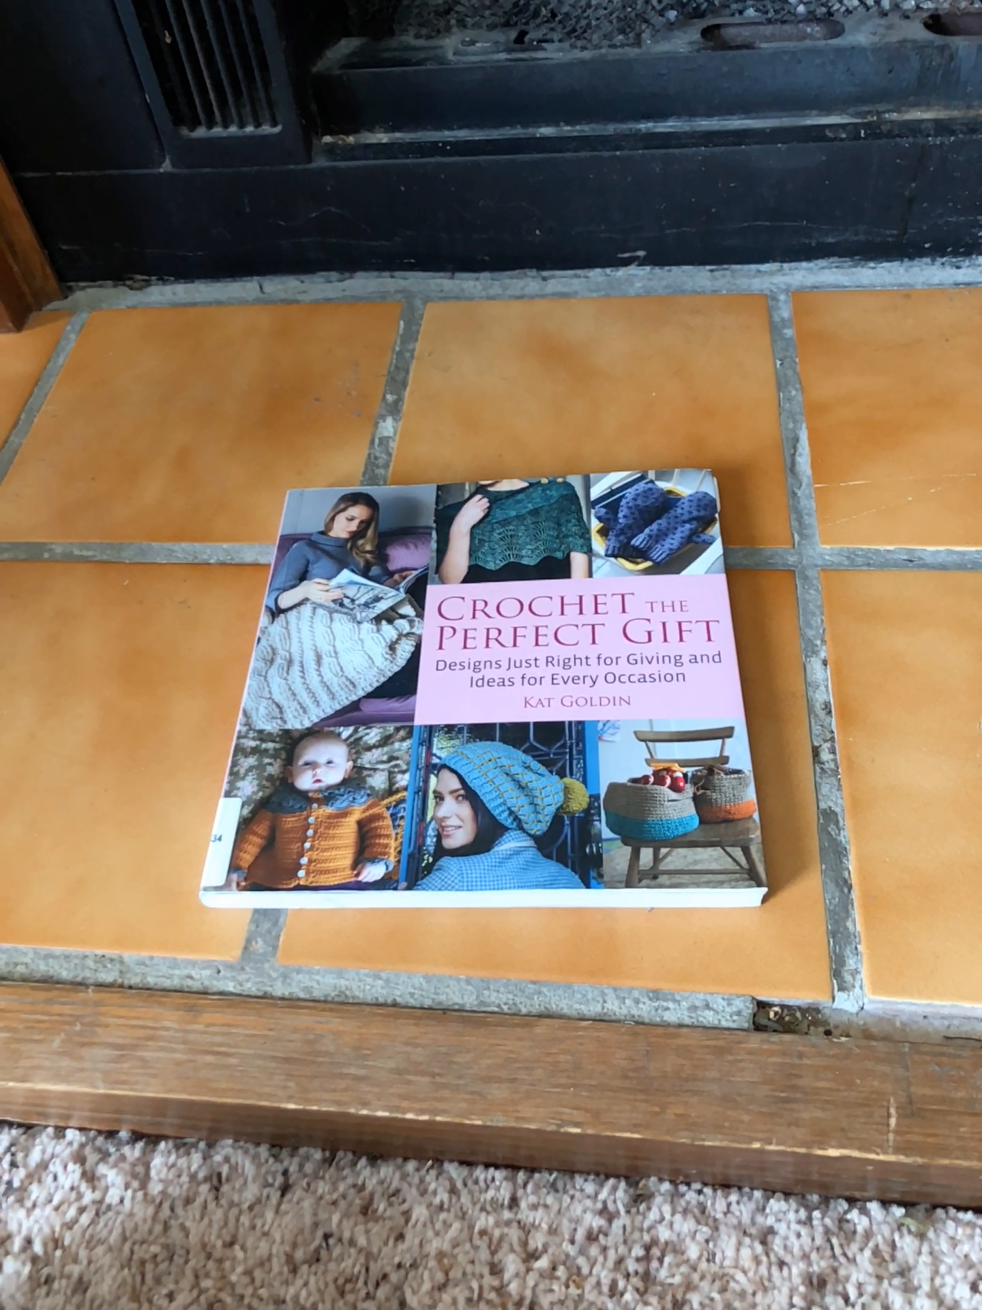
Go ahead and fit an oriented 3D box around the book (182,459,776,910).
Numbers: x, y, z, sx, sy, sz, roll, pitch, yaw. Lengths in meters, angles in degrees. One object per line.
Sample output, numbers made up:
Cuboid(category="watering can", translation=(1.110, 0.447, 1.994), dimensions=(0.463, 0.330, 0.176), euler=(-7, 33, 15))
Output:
Cuboid(category="book", translation=(-0.002, 0.002, 0.471), dimensions=(0.217, 0.020, 0.221), euler=(-1, 52, 5))
